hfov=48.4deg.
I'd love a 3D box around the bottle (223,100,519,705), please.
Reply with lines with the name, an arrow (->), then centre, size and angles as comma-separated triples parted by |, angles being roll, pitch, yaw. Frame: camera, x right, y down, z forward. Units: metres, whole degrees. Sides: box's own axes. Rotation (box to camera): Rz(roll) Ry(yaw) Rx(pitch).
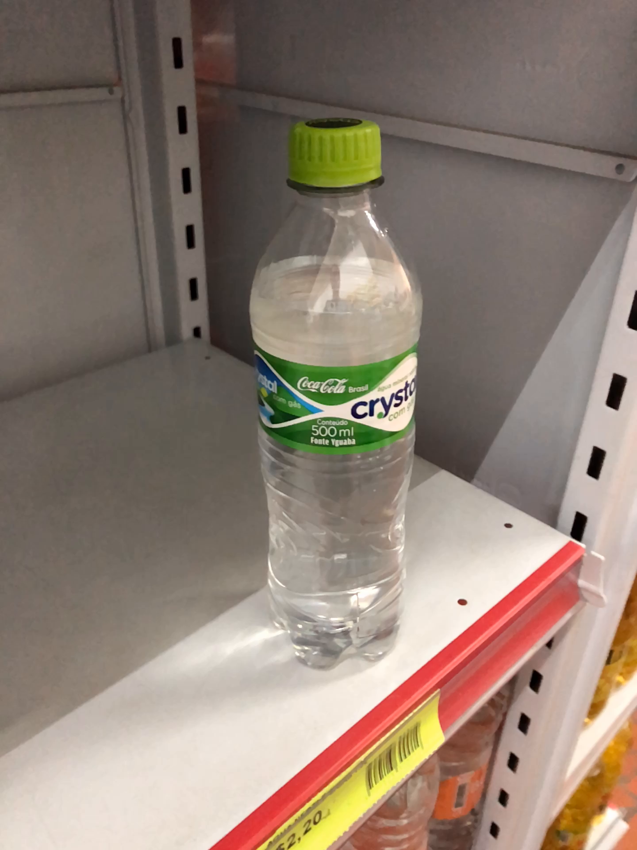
bottle -> 0.014, -0.001, 0.276 | 0.070, 0.218, 0.060 | -23, 39, -34
